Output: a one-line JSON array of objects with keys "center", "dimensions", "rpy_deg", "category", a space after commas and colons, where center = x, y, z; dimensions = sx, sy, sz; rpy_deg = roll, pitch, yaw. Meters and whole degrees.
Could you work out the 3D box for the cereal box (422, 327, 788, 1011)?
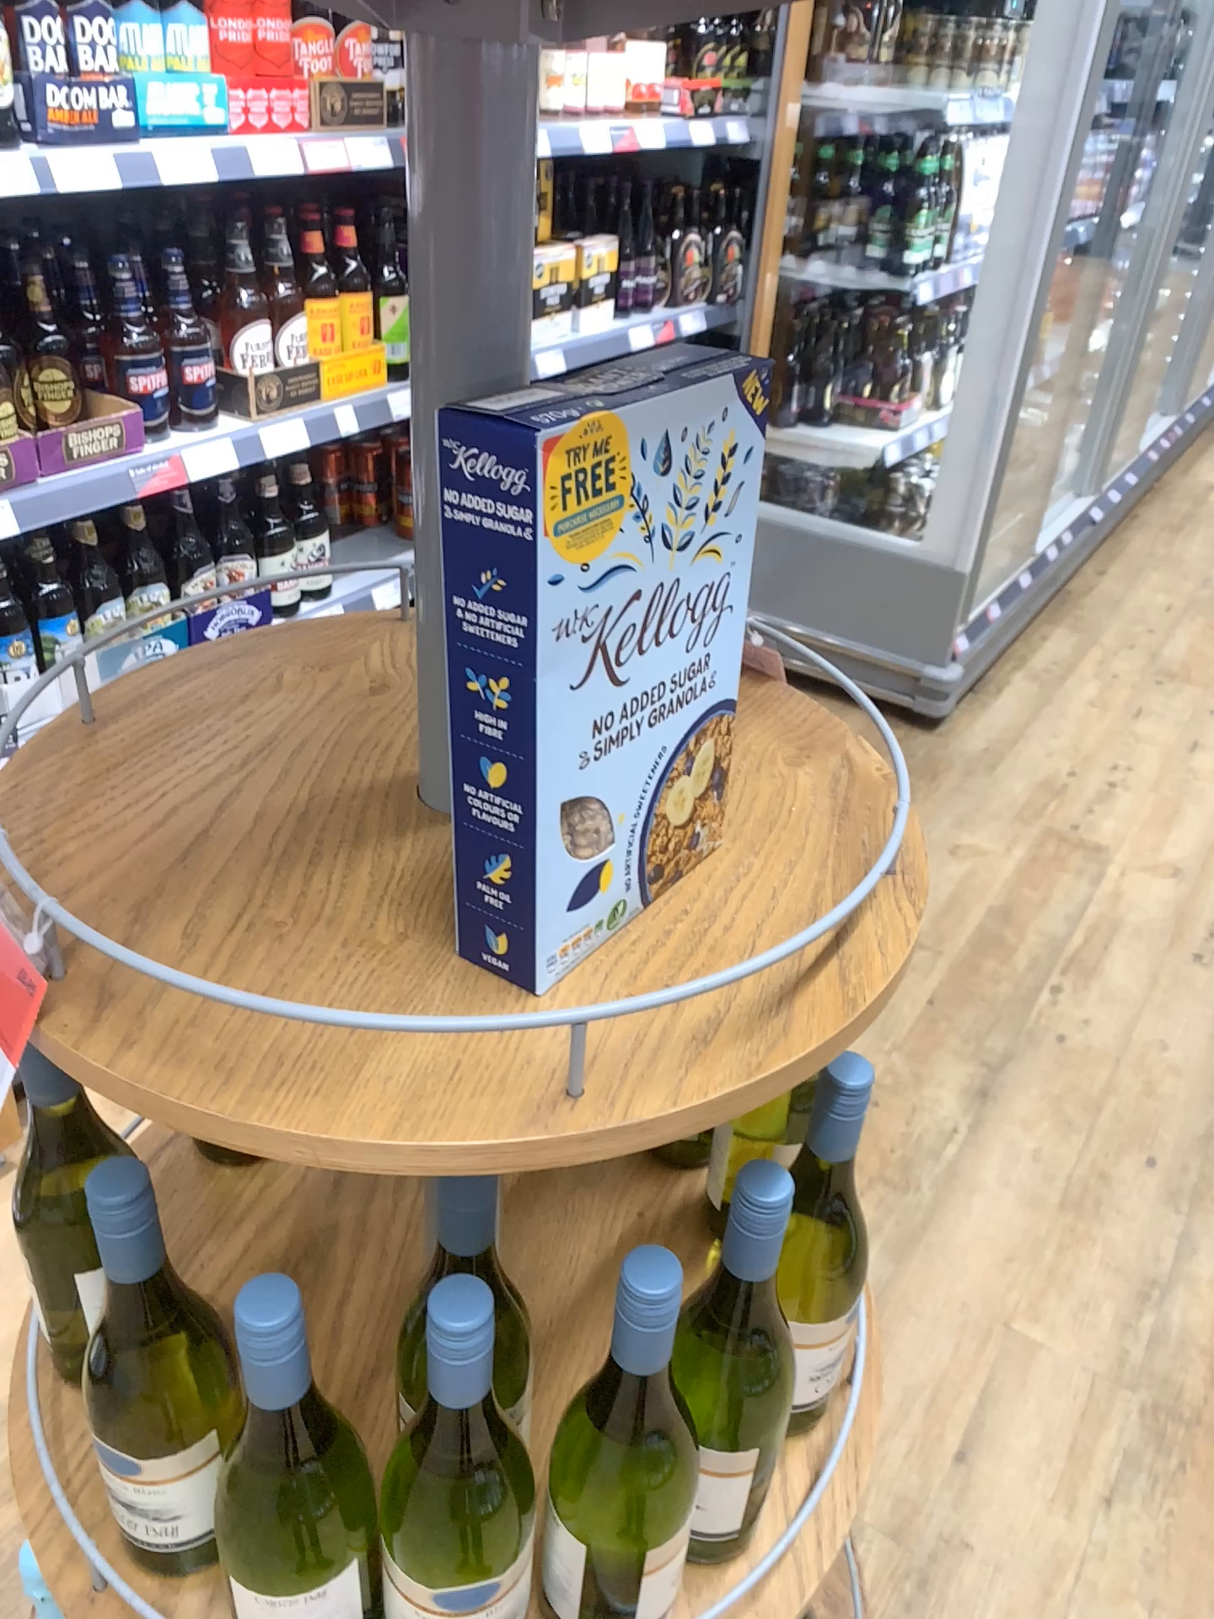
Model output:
[{"center": [0.001, -0.063, 0.539], "dimensions": [0.050, 0.248, 0.171], "rpy_deg": [22, 36, 29], "category": "cereal box"}]
